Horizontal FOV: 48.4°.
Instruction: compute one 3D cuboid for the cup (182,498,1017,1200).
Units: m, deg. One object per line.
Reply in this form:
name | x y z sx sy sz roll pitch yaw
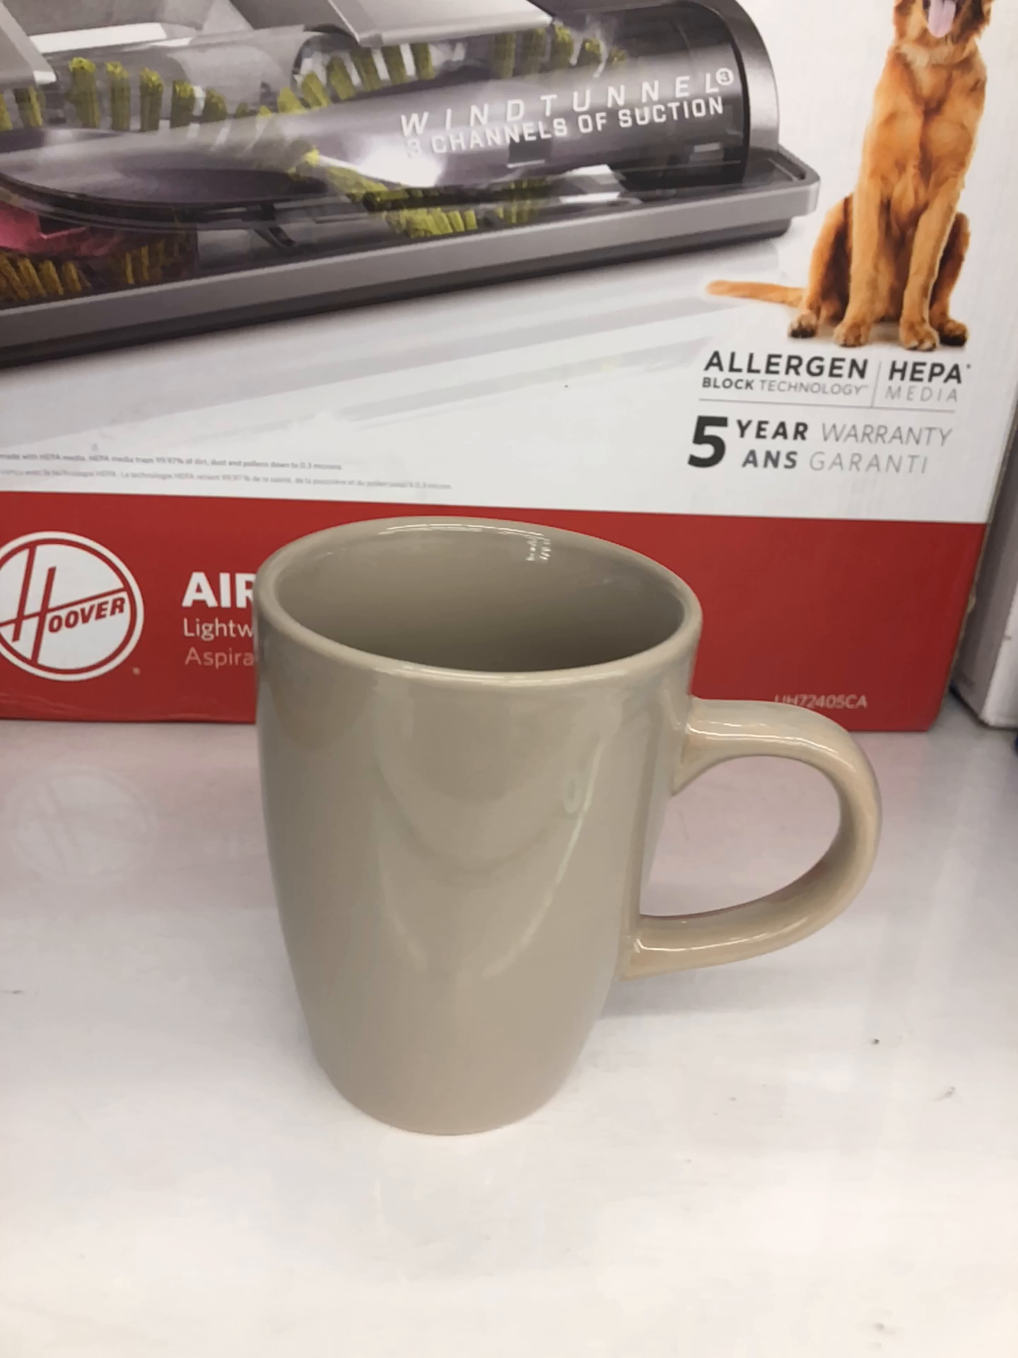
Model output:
cup | 0.013 0.027 0.225 0.125 0.092 0.088 6 25 1
